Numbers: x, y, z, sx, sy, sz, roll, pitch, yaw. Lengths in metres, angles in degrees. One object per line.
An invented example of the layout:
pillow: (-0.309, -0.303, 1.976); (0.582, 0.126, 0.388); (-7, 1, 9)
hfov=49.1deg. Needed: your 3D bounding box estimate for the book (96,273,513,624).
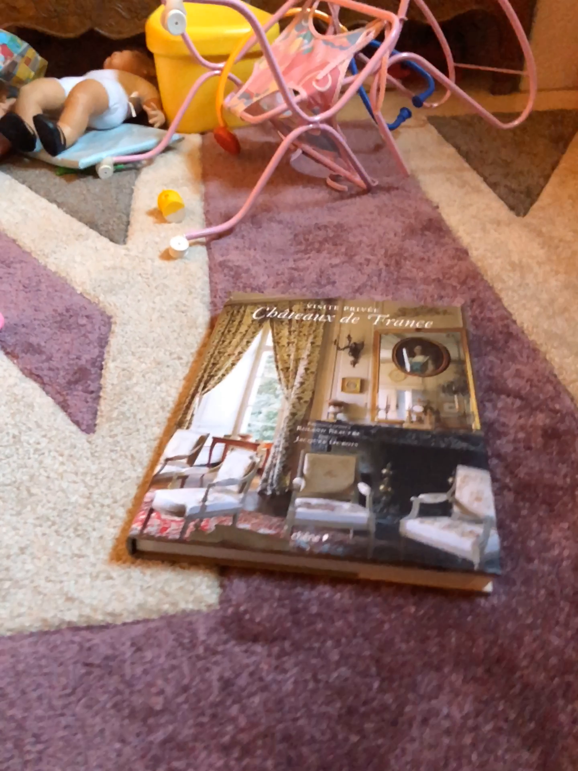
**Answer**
book: (0.031, 0.017, 0.539); (0.260, 0.050, 0.342); (5, 39, 7)
